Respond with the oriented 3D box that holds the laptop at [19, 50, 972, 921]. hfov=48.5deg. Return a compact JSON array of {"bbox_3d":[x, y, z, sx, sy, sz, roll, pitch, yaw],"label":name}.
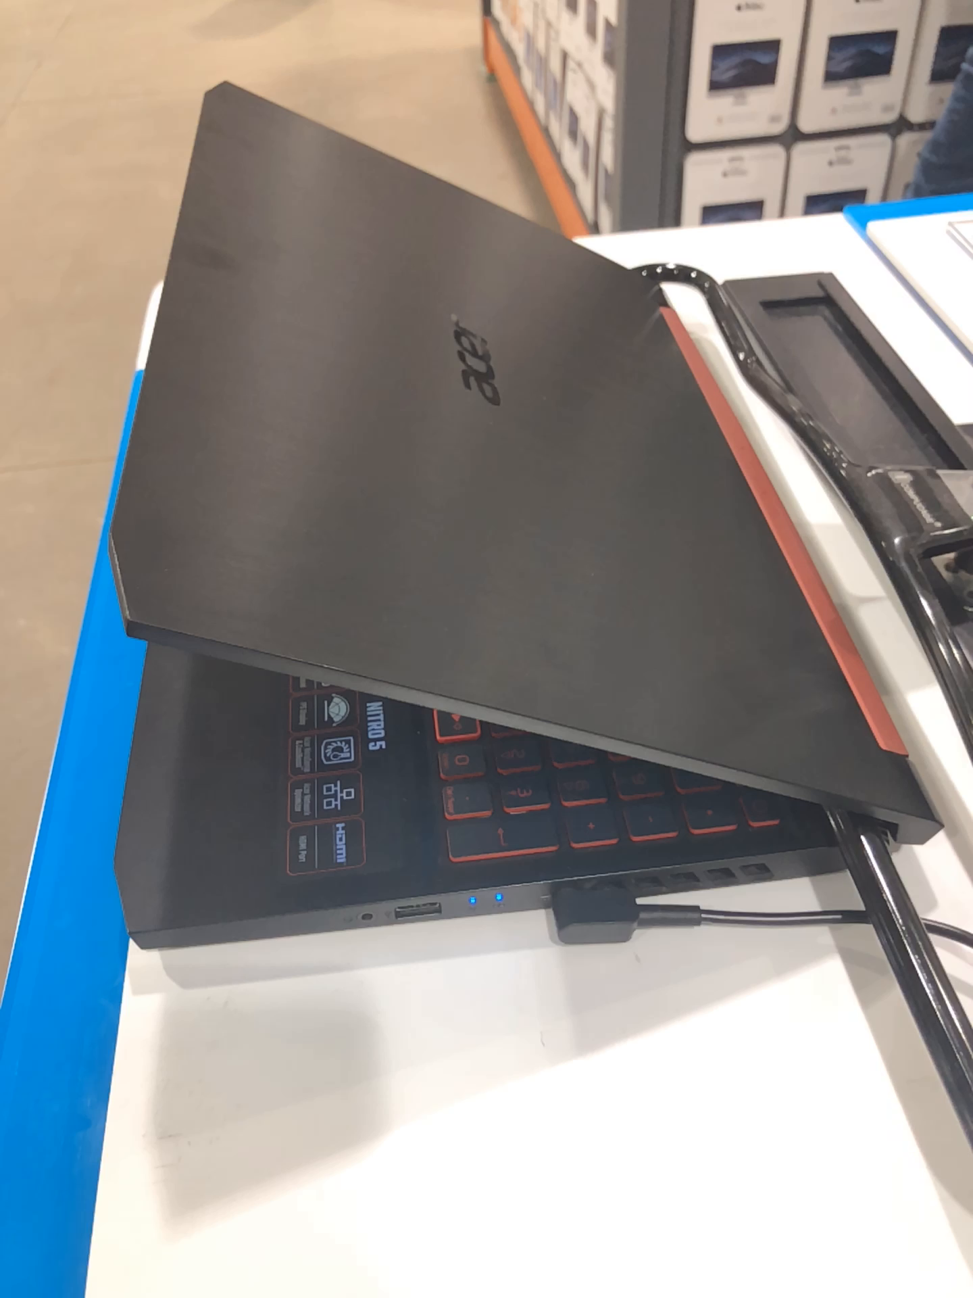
[{"bbox_3d":[-0.017,-0.096,0.407,0.218,0.121,0.346,-7,45,-4],"label":"laptop"}]
